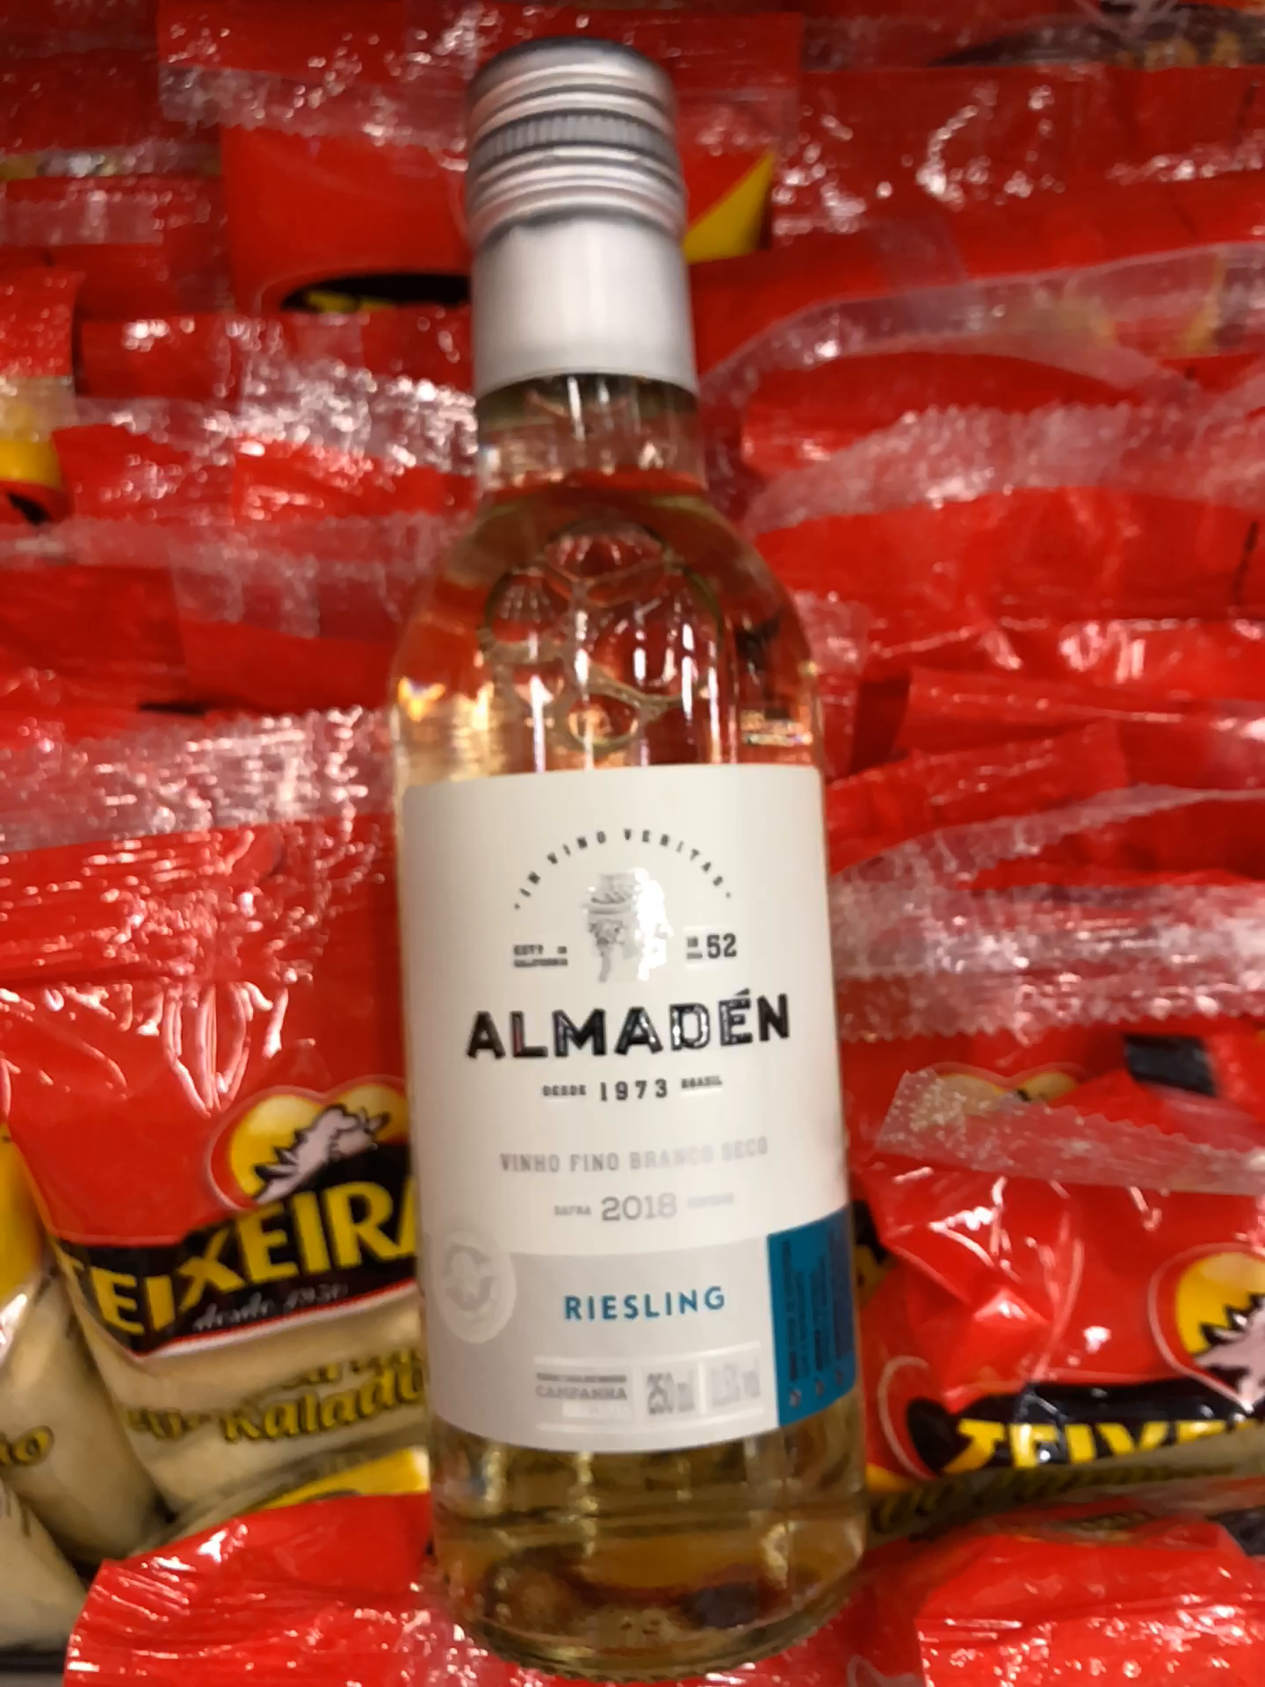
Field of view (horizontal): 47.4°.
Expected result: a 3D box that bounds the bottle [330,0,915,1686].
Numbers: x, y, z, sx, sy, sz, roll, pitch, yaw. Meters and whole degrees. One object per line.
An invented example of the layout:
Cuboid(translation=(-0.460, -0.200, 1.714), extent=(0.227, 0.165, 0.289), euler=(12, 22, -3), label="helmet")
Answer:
Cuboid(translation=(-0.003, -0.009, 0.187), extent=(0.060, 0.040, 0.210), euler=(-2, 85, -1), label="bottle")
